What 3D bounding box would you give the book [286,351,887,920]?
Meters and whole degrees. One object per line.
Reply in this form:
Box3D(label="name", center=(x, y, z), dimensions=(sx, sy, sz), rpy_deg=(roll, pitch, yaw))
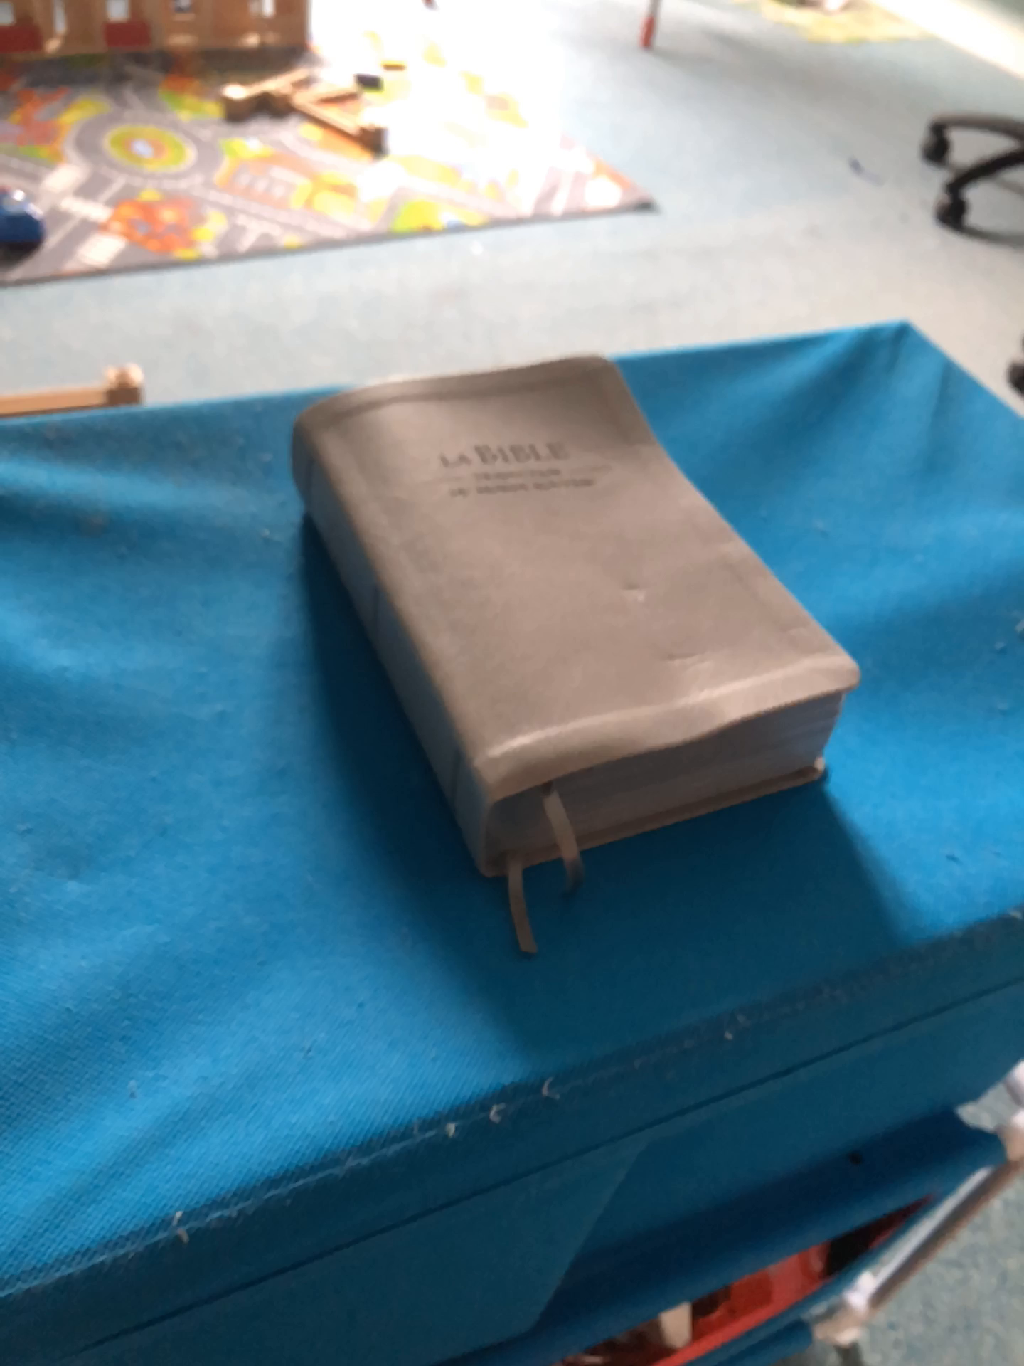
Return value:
Box3D(label="book", center=(0.012, -0.029, 0.374), dimensions=(0.122, 0.051, 0.181), rpy_deg=(-14, 51, -20))
